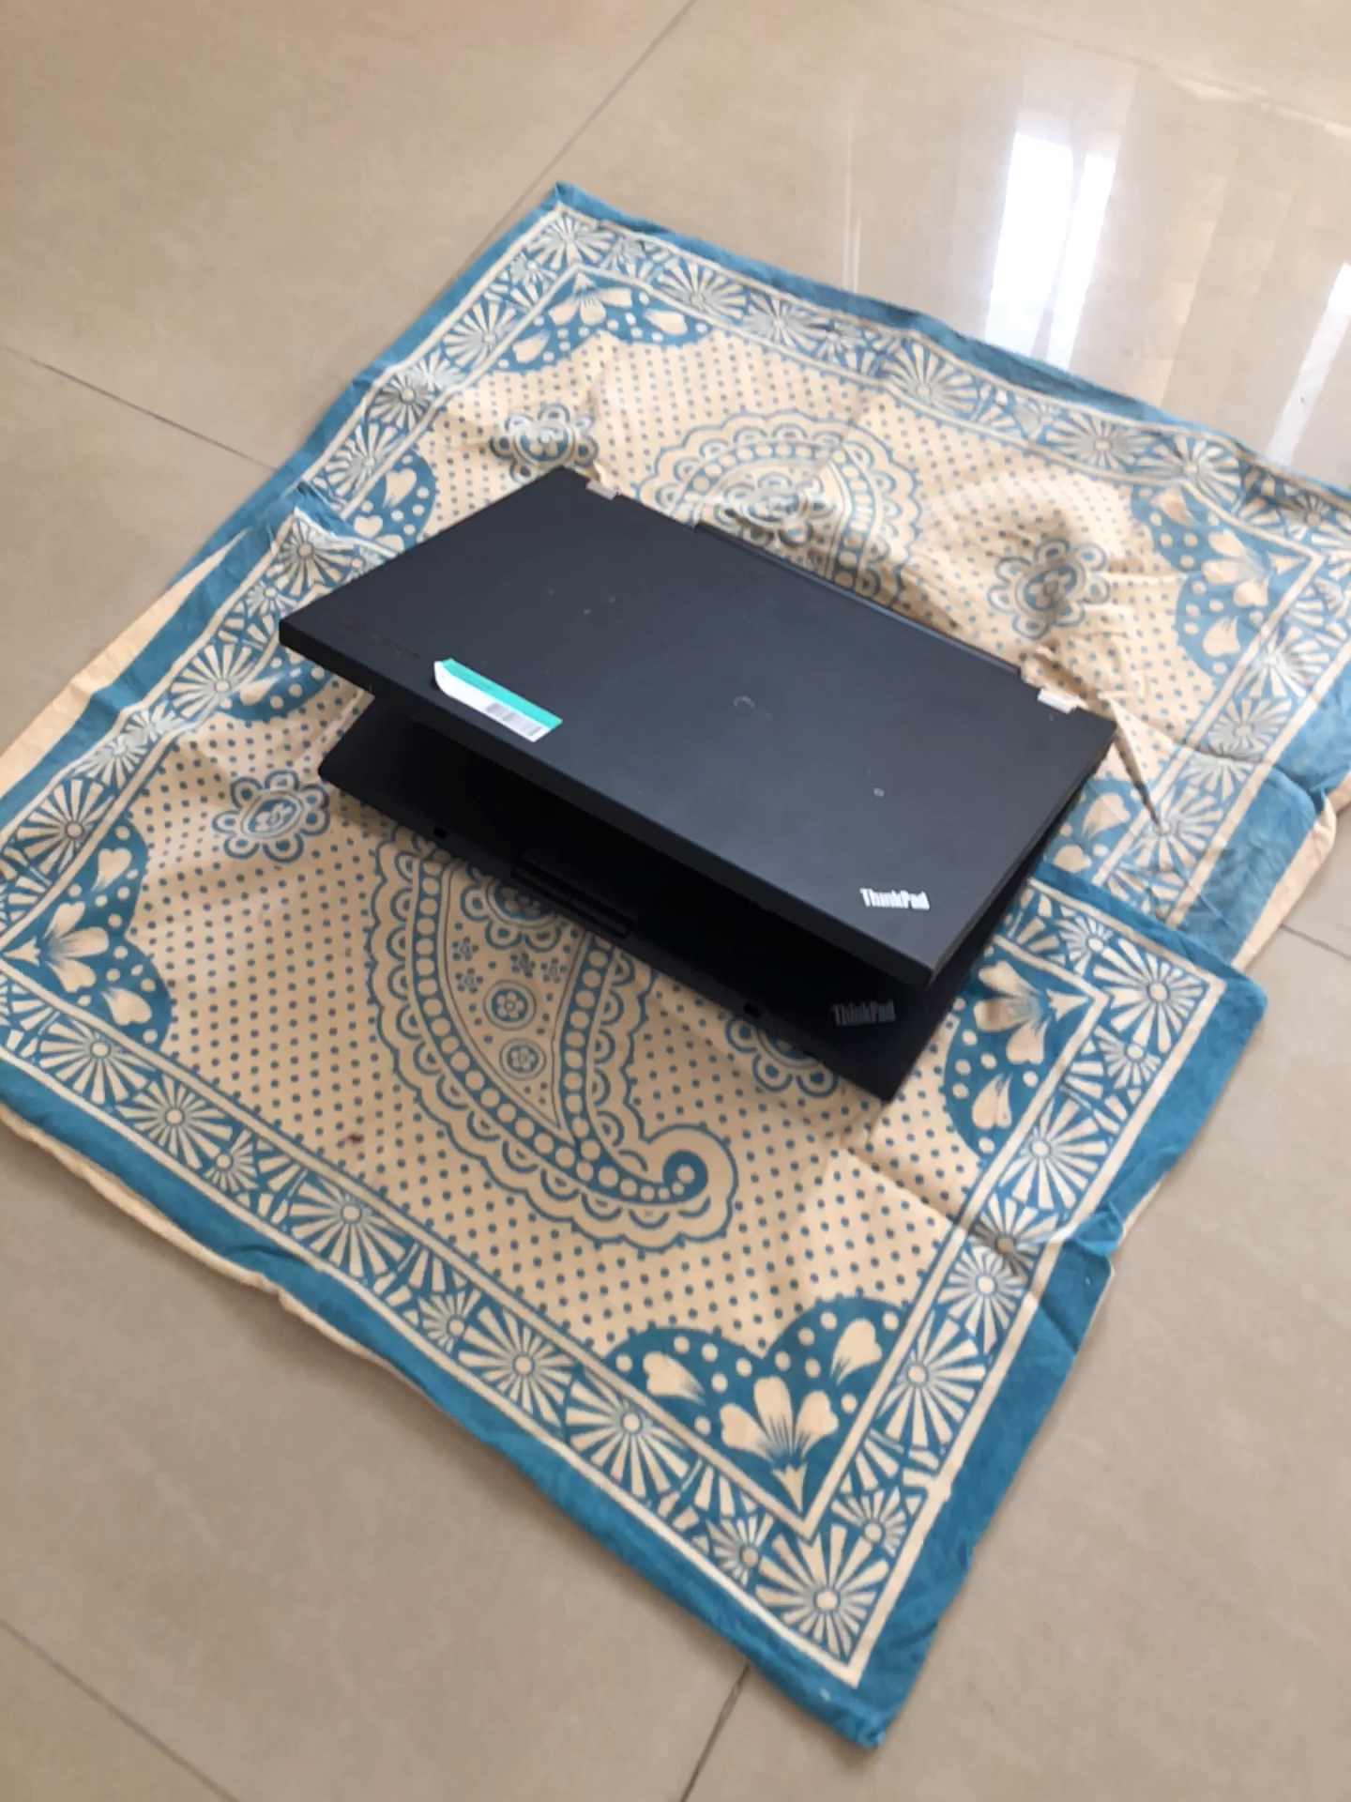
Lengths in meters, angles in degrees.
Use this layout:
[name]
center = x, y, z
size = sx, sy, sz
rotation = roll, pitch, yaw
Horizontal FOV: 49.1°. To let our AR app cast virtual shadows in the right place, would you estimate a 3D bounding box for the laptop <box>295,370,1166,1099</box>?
[laptop]
center = 0.024, -0.100, 0.764
size = 0.348, 0.125, 0.241
rotation = 30, 68, 23
